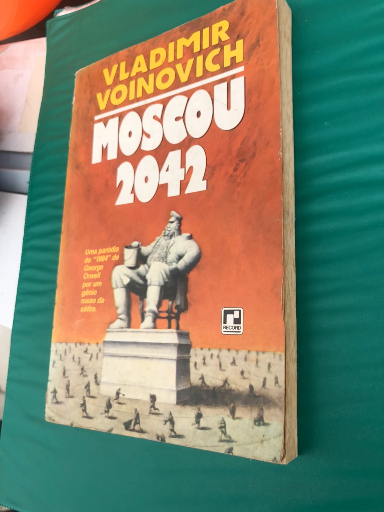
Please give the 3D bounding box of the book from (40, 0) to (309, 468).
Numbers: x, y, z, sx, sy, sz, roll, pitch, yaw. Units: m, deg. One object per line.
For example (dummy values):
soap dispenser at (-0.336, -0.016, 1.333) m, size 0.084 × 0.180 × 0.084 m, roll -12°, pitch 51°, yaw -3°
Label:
book at (-0.013, -0.018, 0.215) m, size 0.132 × 0.020 × 0.203 m, roll -5°, pitch 77°, yaw 31°
